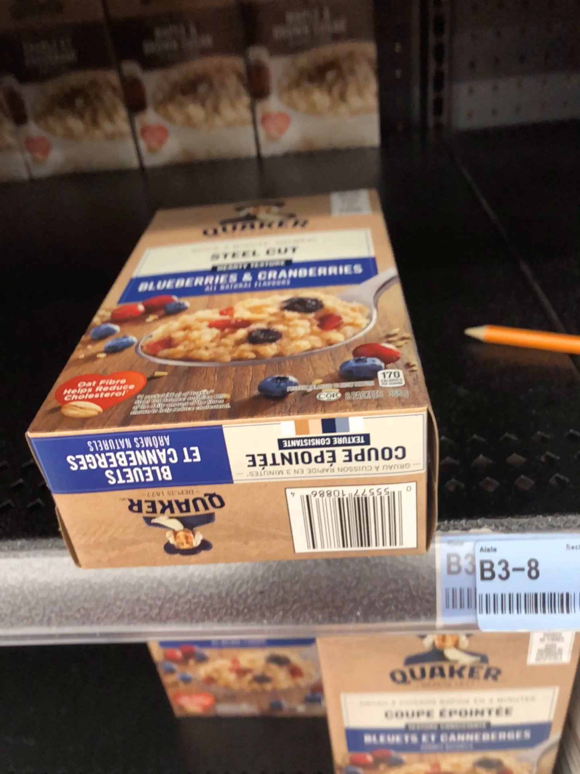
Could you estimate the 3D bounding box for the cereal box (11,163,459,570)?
[{"bbox_3d":[-0.010,-0.033,0.304,0.130,0.060,0.241,-4,34,5],"label":"cereal box"}]
